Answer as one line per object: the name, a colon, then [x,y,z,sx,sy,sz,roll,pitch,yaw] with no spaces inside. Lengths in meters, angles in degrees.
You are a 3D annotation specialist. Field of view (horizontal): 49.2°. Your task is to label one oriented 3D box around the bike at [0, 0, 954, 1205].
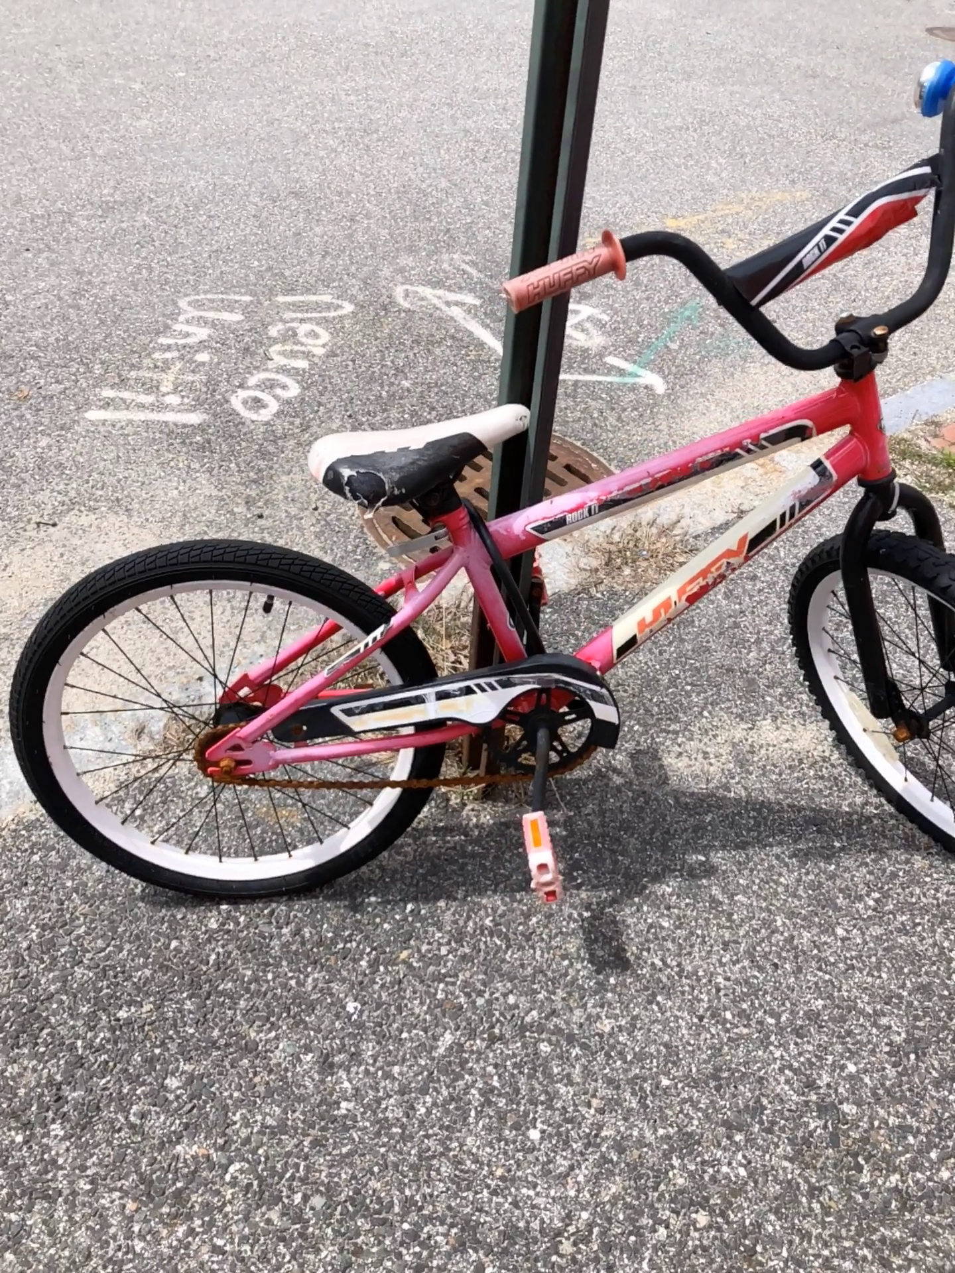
bike: [0.094,-0.067,0.981,1.175,0.887,0.700,2,43,-1]
